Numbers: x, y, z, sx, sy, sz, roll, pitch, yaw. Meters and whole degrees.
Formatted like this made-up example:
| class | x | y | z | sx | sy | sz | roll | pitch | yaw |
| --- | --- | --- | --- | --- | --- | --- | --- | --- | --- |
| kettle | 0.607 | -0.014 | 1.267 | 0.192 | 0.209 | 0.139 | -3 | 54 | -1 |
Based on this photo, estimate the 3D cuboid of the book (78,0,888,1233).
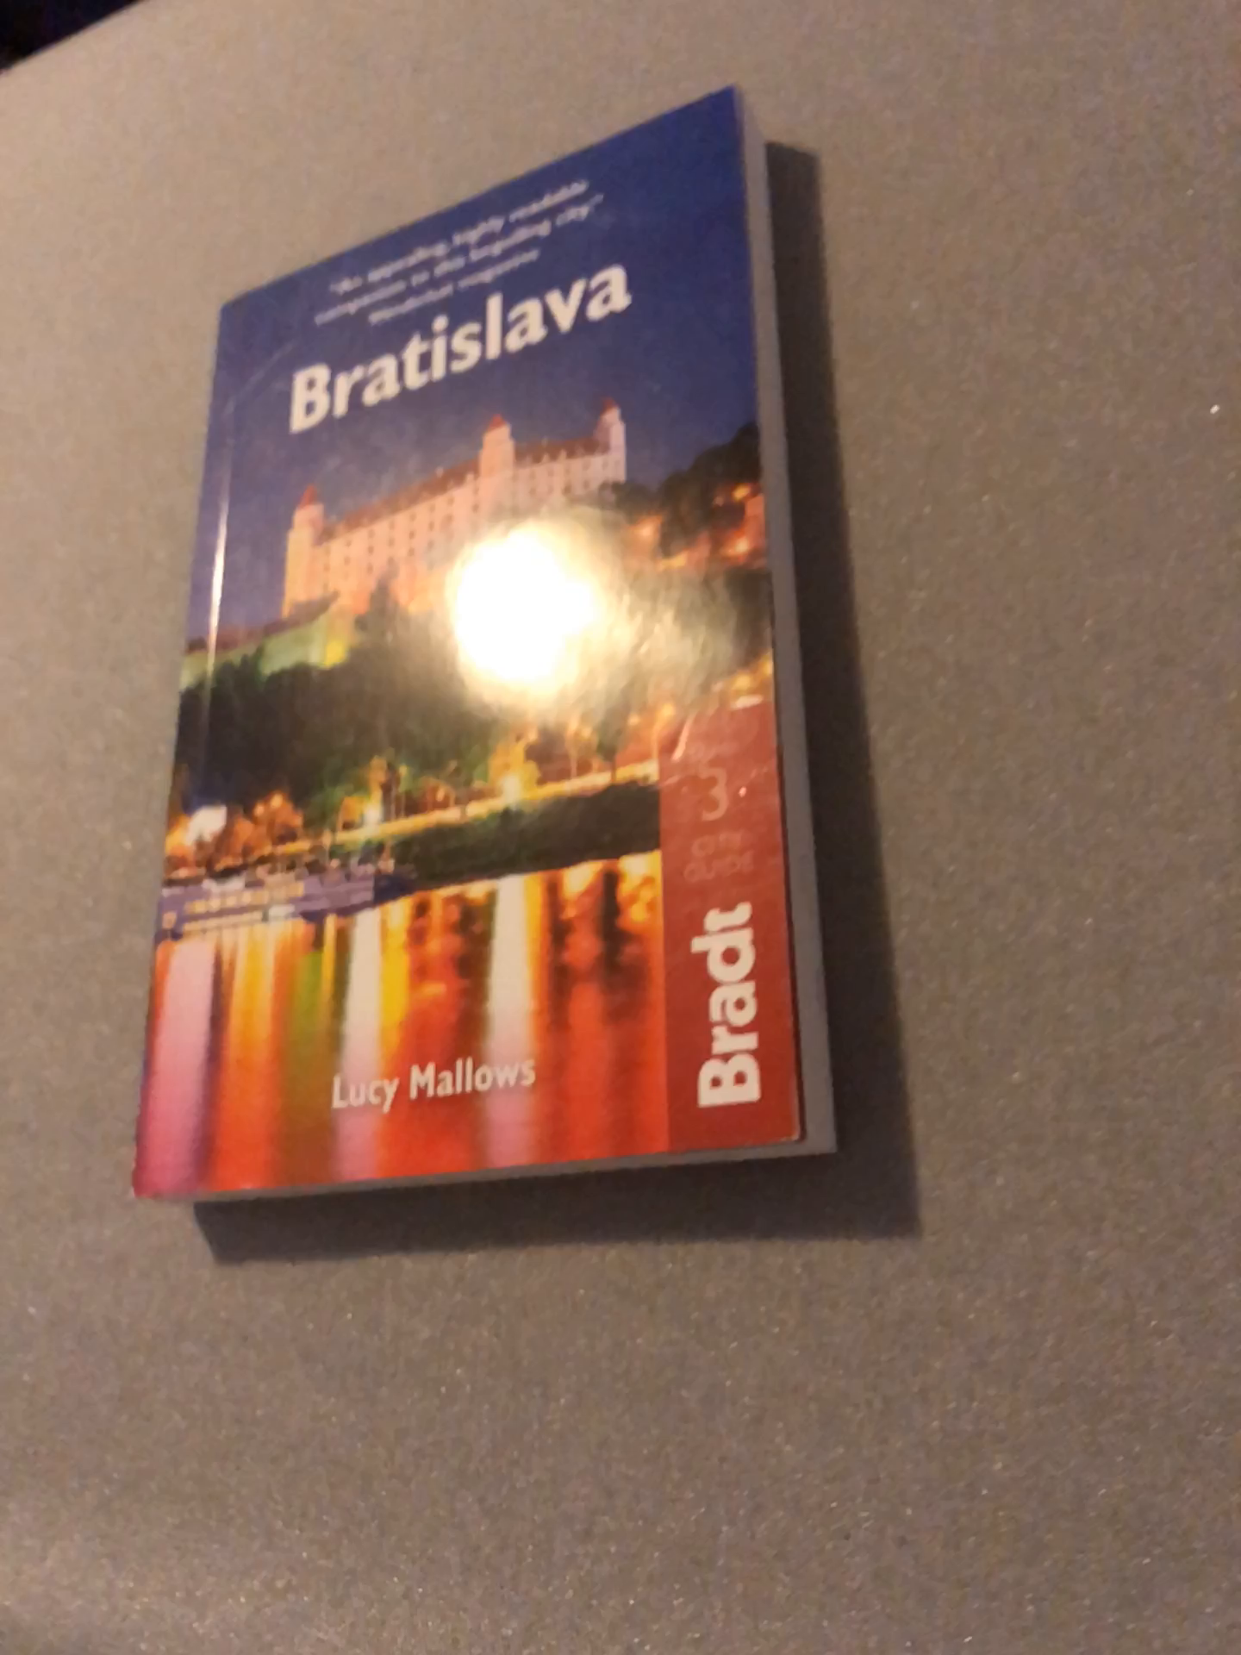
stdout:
| class | x | y | z | sx | sy | sz | roll | pitch | yaw |
| --- | --- | --- | --- | --- | --- | --- | --- | --- | --- |
| book | -0.030 | -0.039 | 0.256 | 0.141 | 0.020 | 0.210 | -12 | 67 | 28 |
